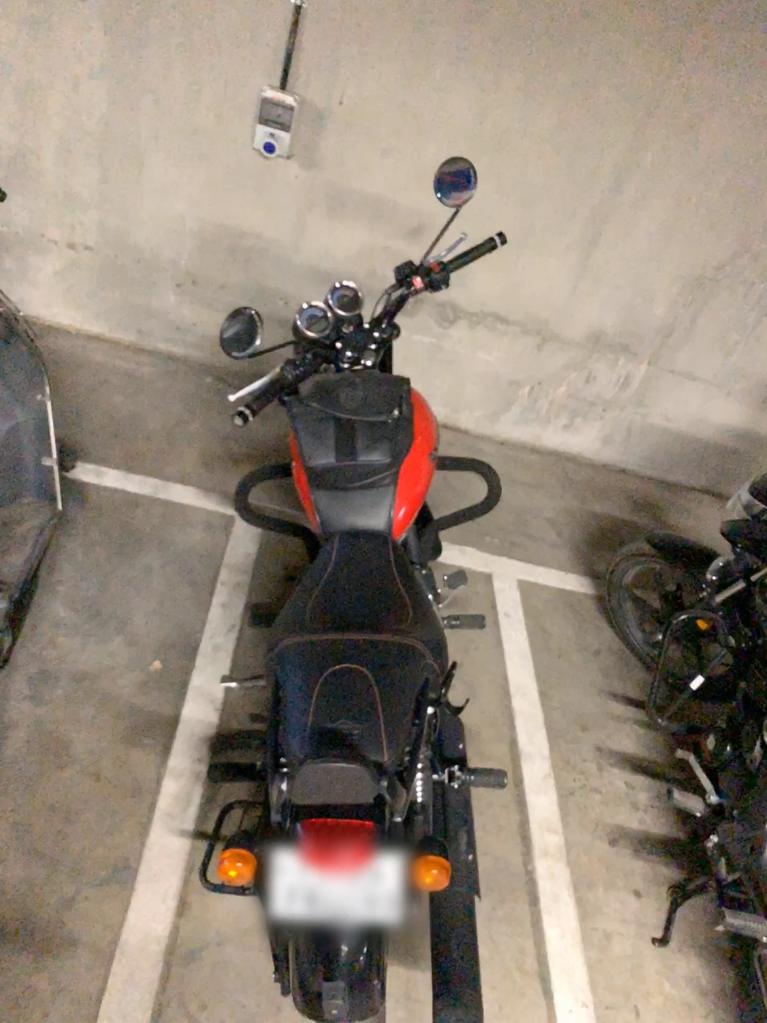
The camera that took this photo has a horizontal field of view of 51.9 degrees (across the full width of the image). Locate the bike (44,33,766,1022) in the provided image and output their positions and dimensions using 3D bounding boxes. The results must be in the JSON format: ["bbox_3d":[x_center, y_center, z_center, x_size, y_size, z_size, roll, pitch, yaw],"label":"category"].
[{"bbox_3d":[-0.188,-0.033,1.851,0.829,1.302,1.842,7,40,-17],"label":"bike"}]
